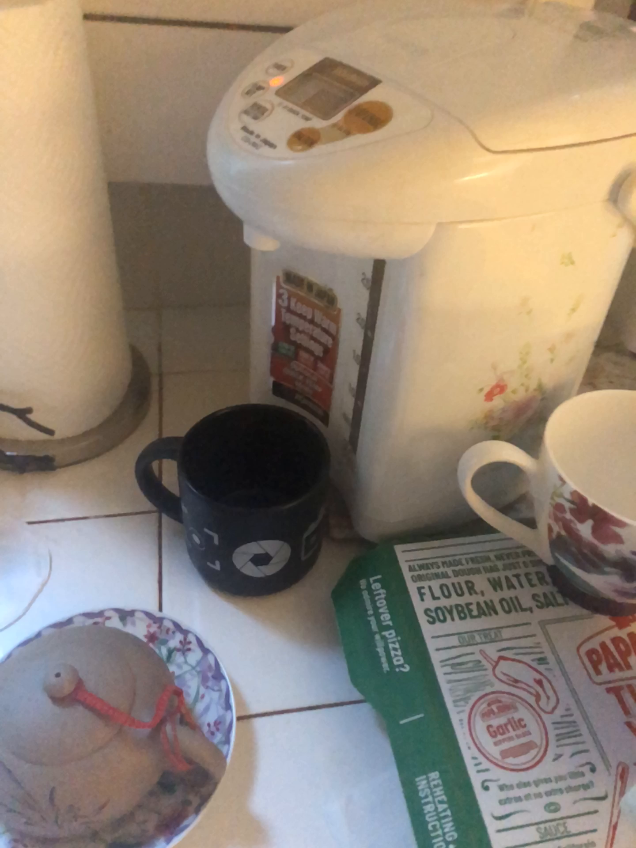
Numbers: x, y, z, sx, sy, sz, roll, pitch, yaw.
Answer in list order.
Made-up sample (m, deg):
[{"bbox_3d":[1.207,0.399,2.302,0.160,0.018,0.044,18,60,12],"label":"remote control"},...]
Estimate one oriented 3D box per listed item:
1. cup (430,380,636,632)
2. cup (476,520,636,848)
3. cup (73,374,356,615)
[{"bbox_3d":[0.152,0.043,0.379,0.160,0.079,0.101,3,42,-3],"label":"cup"},{"bbox_3d":[0.165,0.116,0.281,0.160,0.079,0.101,-8,44,-14],"label":"cup"},{"bbox_3d":[-0.058,0.041,0.436,0.140,0.079,0.091,12,43,7],"label":"cup"}]
